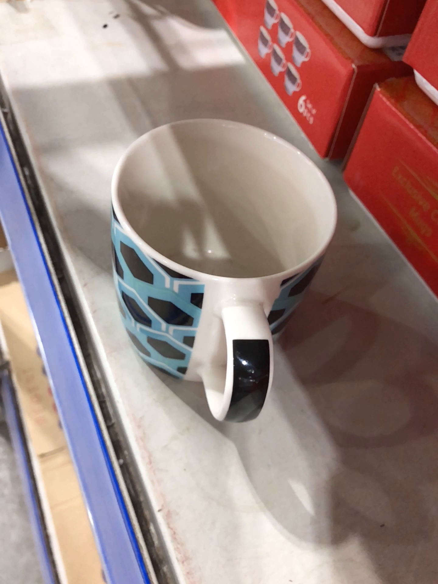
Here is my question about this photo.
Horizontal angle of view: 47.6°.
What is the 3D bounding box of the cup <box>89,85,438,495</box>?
[{"bbox_3d":[0.005,-0.002,0.225,0.110,0.120,0.130,-5,54,-13],"label":"cup"}]
